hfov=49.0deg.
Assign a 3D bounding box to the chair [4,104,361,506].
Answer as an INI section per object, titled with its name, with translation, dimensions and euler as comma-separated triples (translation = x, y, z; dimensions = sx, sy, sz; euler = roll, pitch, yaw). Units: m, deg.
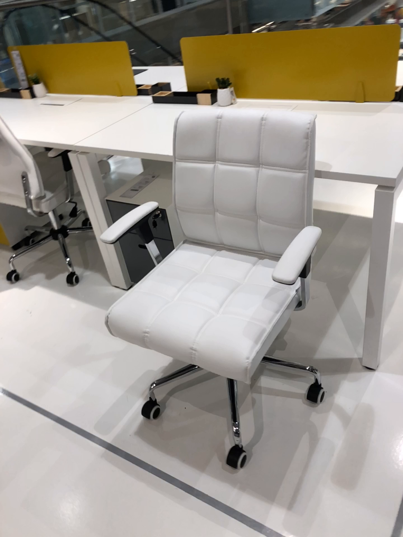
[chair]
translation = 0.042, 0.056, 1.330
dimensions = 0.651, 0.883, 0.633
euler = 11, 40, 28
